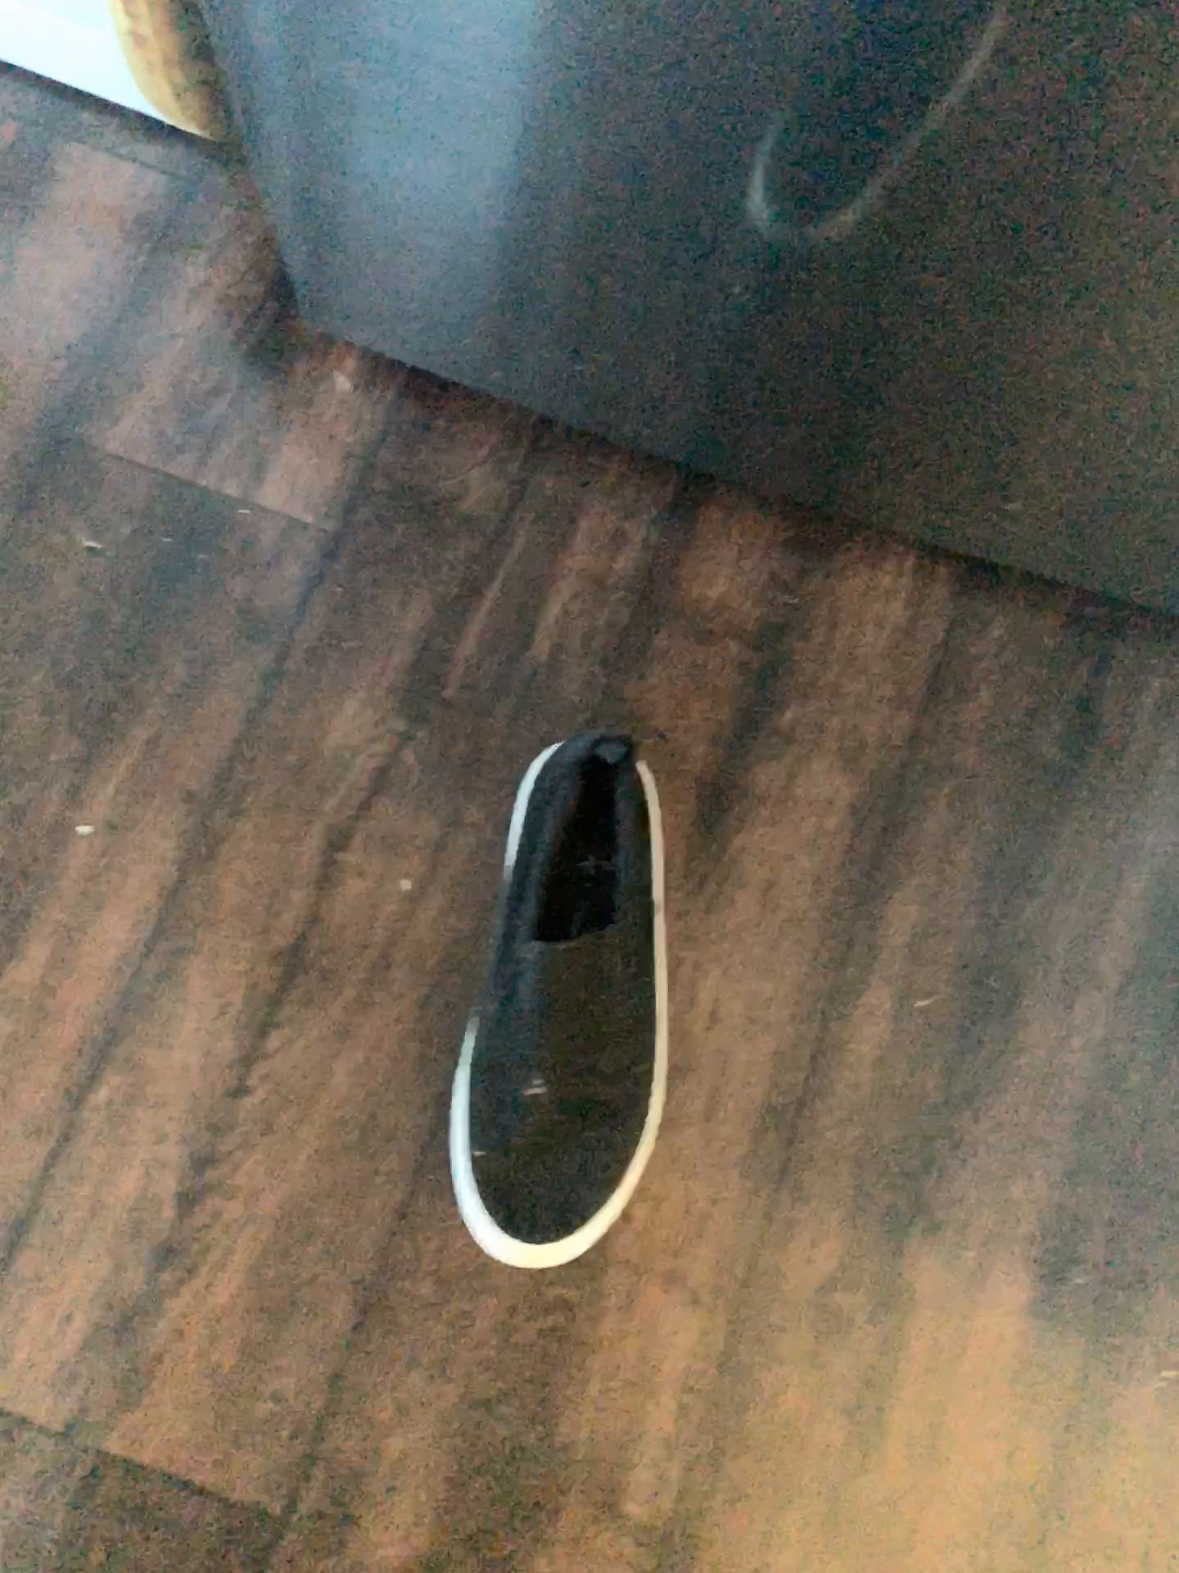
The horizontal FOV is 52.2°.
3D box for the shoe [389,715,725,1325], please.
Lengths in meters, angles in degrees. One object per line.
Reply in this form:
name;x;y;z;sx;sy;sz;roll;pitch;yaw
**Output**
shoe;-0.012;0.100;0.546;0.100;0.080;0.239;10;77;0
